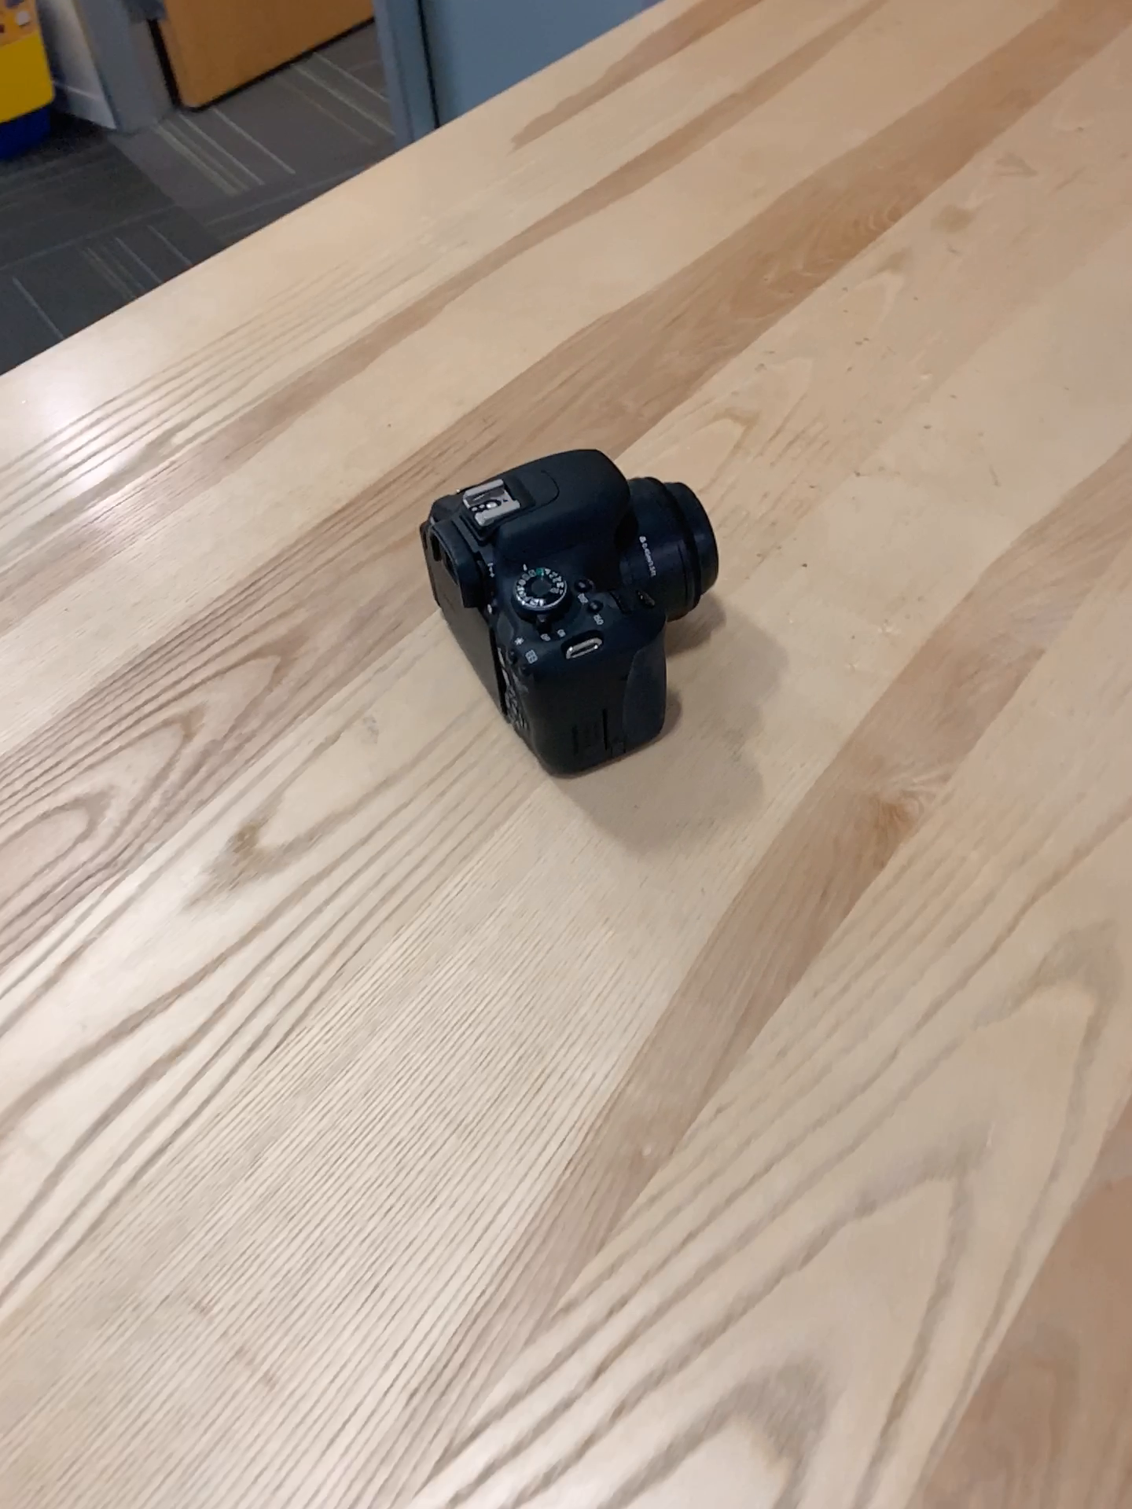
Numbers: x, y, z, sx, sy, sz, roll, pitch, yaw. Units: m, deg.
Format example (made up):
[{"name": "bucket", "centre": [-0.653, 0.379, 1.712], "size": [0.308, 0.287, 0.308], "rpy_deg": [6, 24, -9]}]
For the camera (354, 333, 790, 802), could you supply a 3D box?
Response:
[{"name": "camera", "centre": [0.001, -0.084, 0.496], "size": [0.120, 0.100, 0.145], "rpy_deg": [-24, 52, -13]}]
